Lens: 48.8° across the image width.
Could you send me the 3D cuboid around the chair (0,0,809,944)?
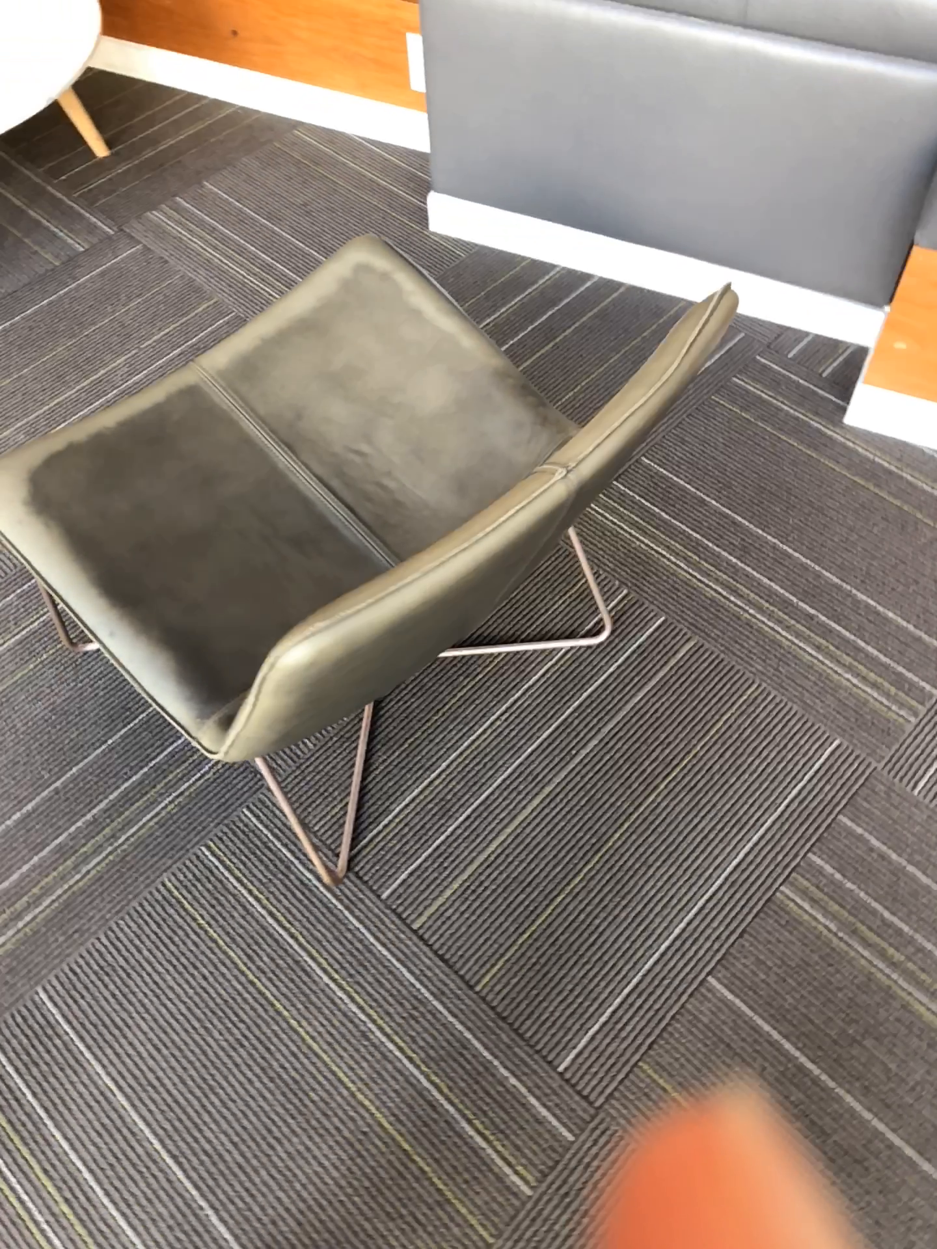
[{"bbox_3d":[-0.189,-0.187,1.263,0.651,0.878,0.670,42,66,19],"label":"chair"}]
